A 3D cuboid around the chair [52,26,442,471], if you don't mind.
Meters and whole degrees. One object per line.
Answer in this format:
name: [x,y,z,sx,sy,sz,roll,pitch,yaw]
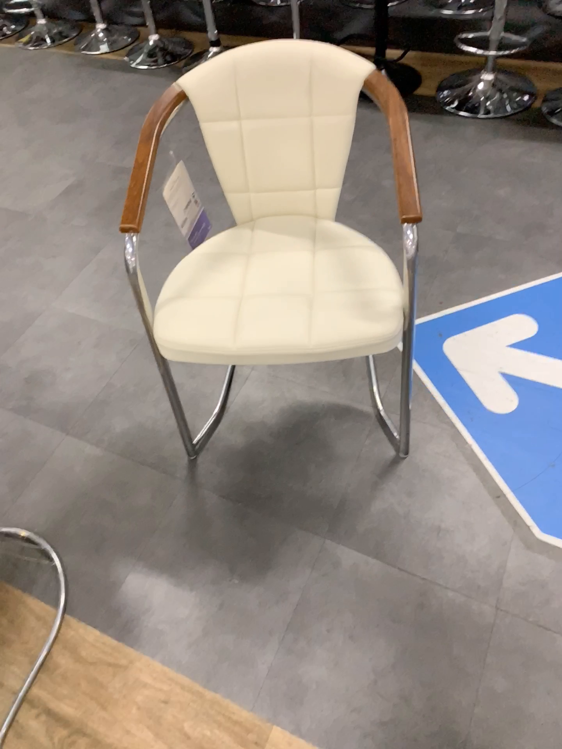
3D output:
chair: [-0.008,-0.240,1.375,0.600,0.816,0.603,-2,52,6]
